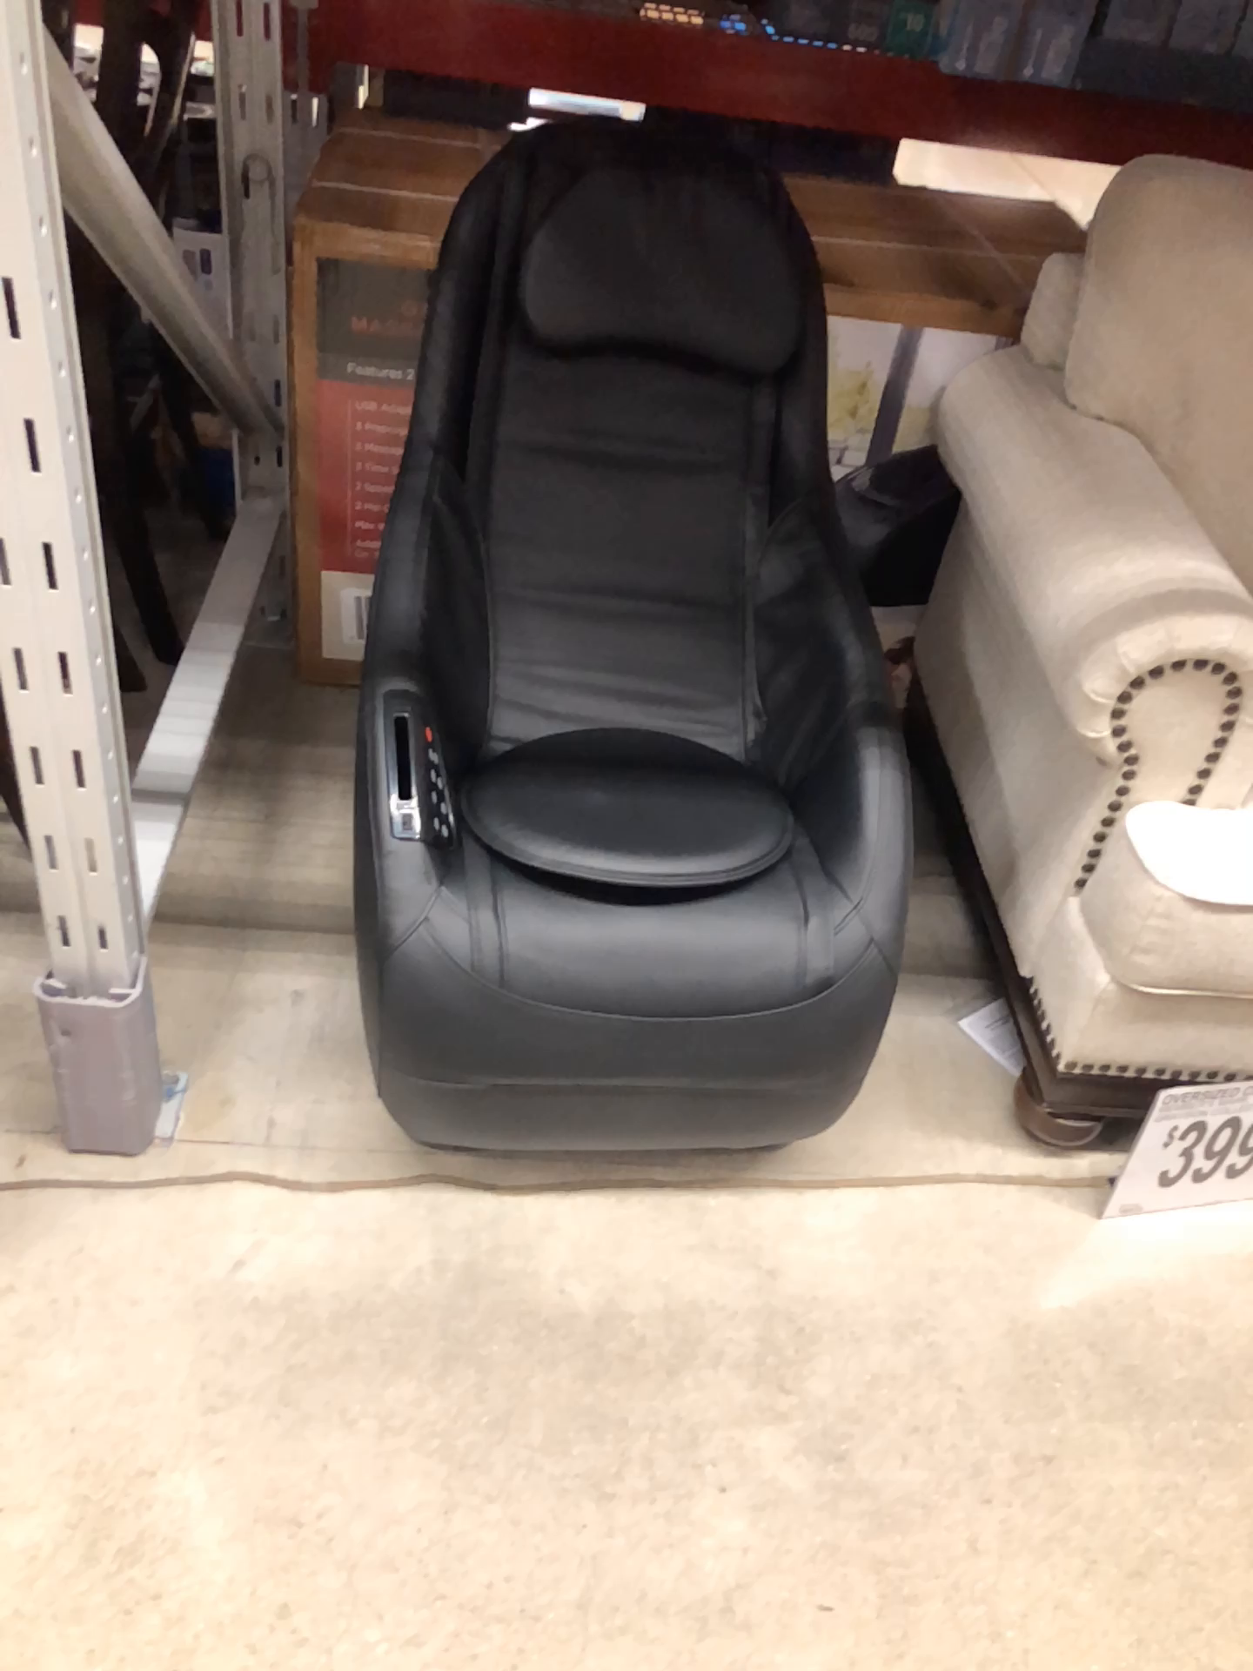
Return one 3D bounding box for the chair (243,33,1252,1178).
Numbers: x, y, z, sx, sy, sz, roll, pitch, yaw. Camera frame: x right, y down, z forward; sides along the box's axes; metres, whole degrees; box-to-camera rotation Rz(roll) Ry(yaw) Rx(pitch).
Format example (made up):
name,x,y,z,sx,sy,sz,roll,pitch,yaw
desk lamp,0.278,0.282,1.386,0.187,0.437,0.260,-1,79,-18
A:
name,x,y,z,sx,sy,sz,roll,pitch,yaw
chair,-0.001,-0.218,1.373,0.650,0.848,0.702,1,38,-11
